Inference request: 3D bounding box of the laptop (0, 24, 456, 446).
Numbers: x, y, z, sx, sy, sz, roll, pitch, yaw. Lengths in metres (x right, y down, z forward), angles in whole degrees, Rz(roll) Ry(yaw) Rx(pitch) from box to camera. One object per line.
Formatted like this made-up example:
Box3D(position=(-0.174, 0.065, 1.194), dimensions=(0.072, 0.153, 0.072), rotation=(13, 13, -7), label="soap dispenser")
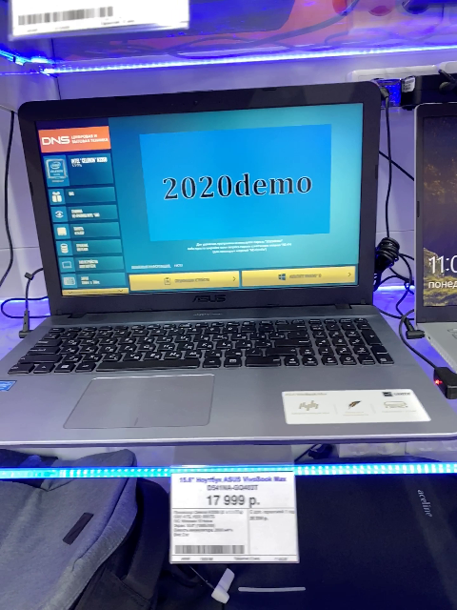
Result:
Box3D(position=(-0.033, -0.065, 0.403), dimensions=(0.372, 0.232, 0.263), rotation=(-2, 19, 3), label="laptop")
